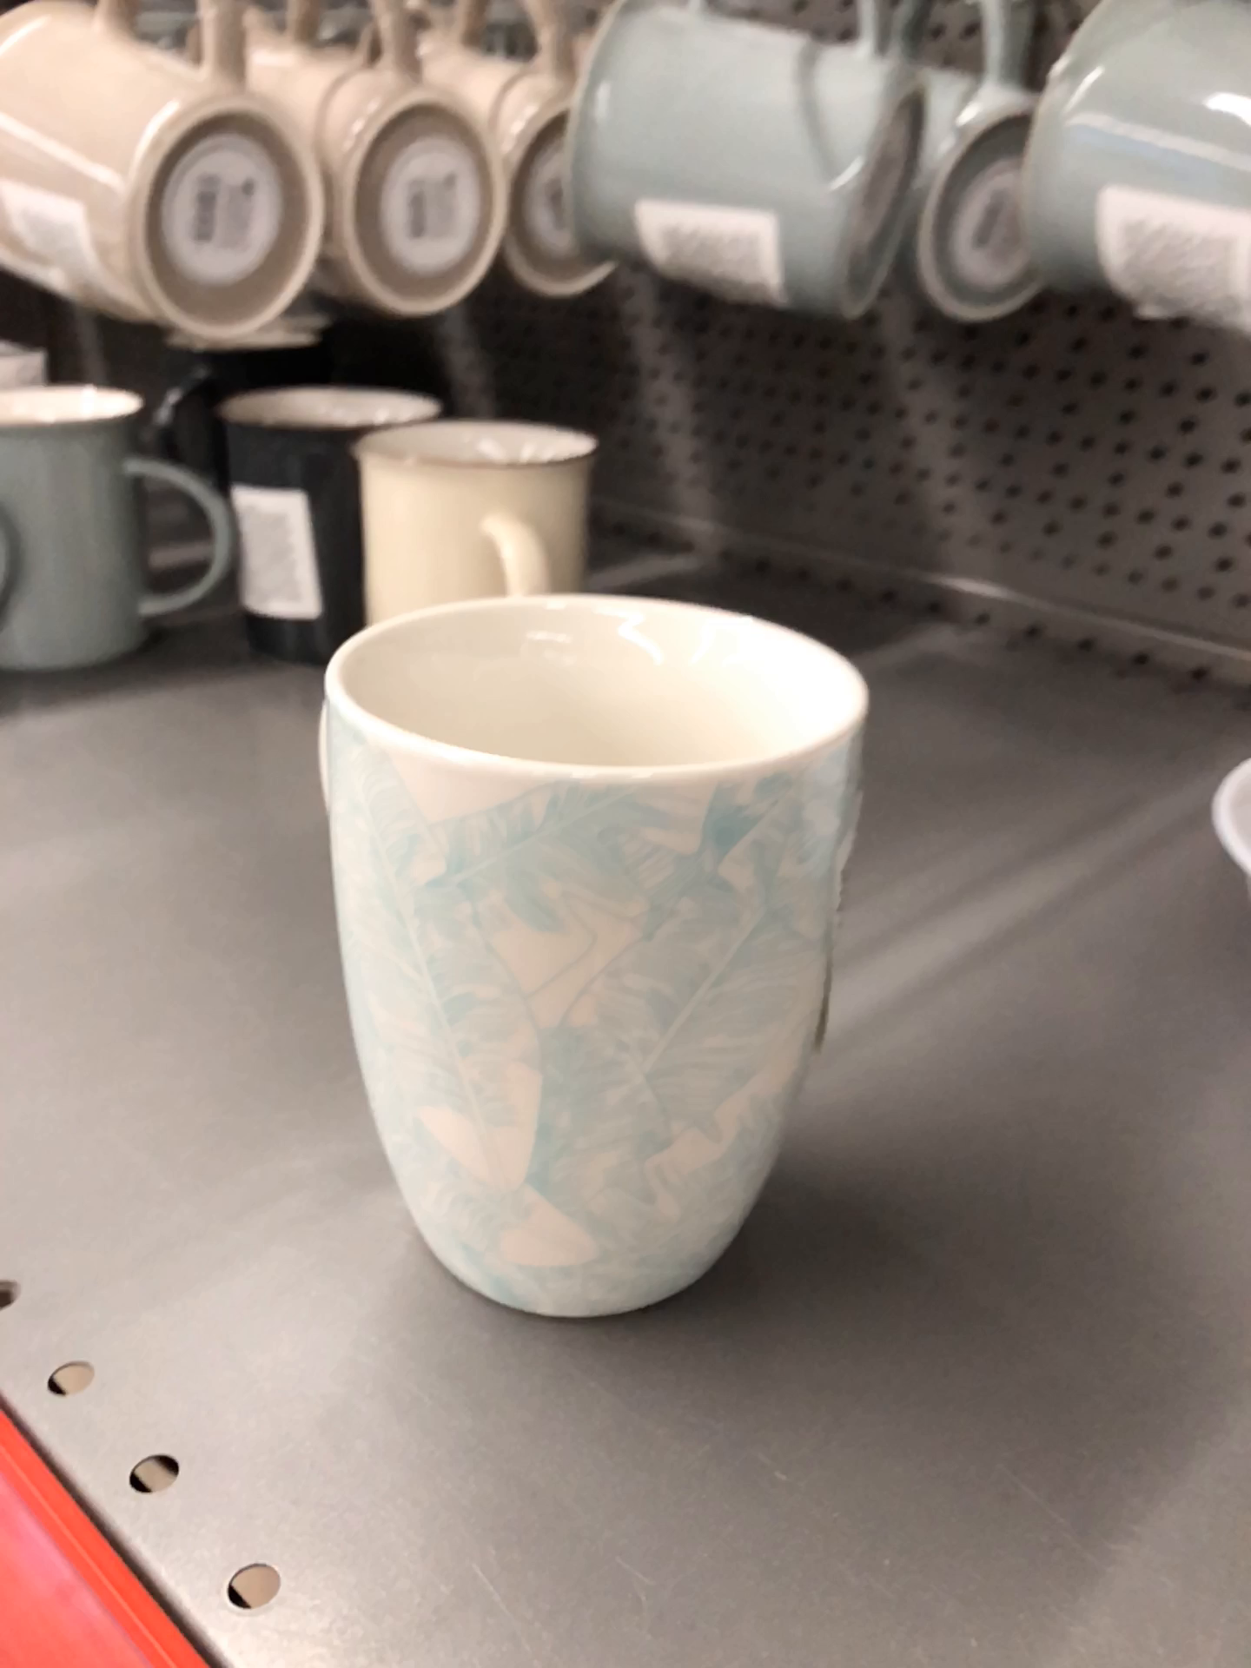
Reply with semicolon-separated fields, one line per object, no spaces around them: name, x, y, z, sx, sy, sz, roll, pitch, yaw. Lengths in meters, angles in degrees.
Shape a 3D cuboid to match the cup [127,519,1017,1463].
cup;-0.014;0.012;0.243;0.083;0.098;0.121;-21;33;-37
